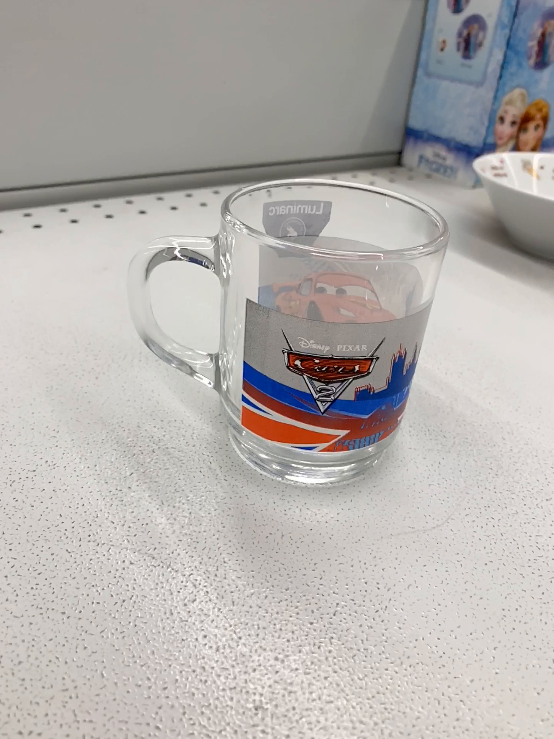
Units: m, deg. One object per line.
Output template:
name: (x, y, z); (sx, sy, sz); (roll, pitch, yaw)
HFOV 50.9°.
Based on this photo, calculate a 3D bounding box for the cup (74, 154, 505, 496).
cup: (0.000, -0.016, 0.198); (0.108, 0.087, 0.071); (2, 33, -3)
